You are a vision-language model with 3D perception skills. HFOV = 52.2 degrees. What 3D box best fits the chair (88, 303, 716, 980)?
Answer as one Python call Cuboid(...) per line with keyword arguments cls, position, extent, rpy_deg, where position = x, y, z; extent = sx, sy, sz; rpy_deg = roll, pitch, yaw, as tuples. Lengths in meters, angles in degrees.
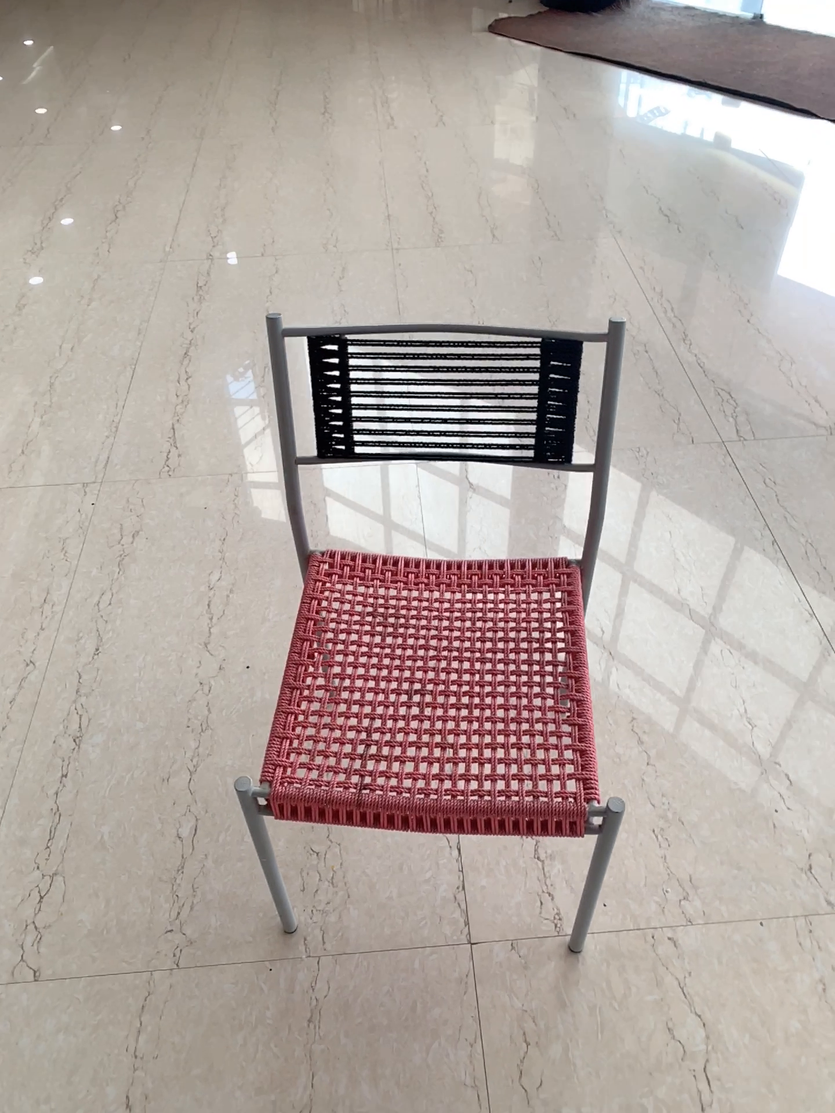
Cuboid(cls="chair", position=(0.006, 0.131, 1.182), extent=(0.530, 0.734, 0.585), rpy_deg=(1, 44, 3))
